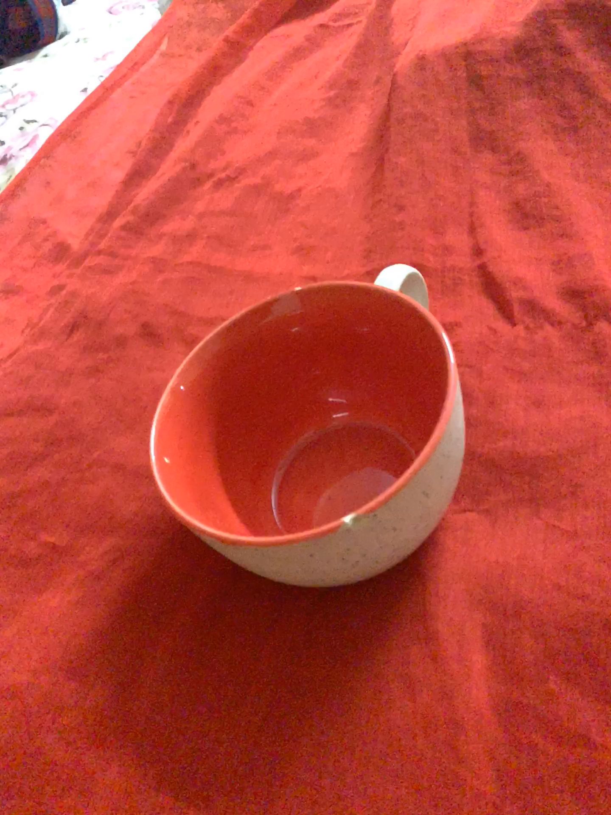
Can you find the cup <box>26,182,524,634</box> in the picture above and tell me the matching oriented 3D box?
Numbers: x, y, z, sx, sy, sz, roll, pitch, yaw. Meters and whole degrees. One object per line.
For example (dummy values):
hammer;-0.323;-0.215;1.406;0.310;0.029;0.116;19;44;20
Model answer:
cup;-0.002;-0.014;0.249;0.130;0.069;0.141;-11;49;12
